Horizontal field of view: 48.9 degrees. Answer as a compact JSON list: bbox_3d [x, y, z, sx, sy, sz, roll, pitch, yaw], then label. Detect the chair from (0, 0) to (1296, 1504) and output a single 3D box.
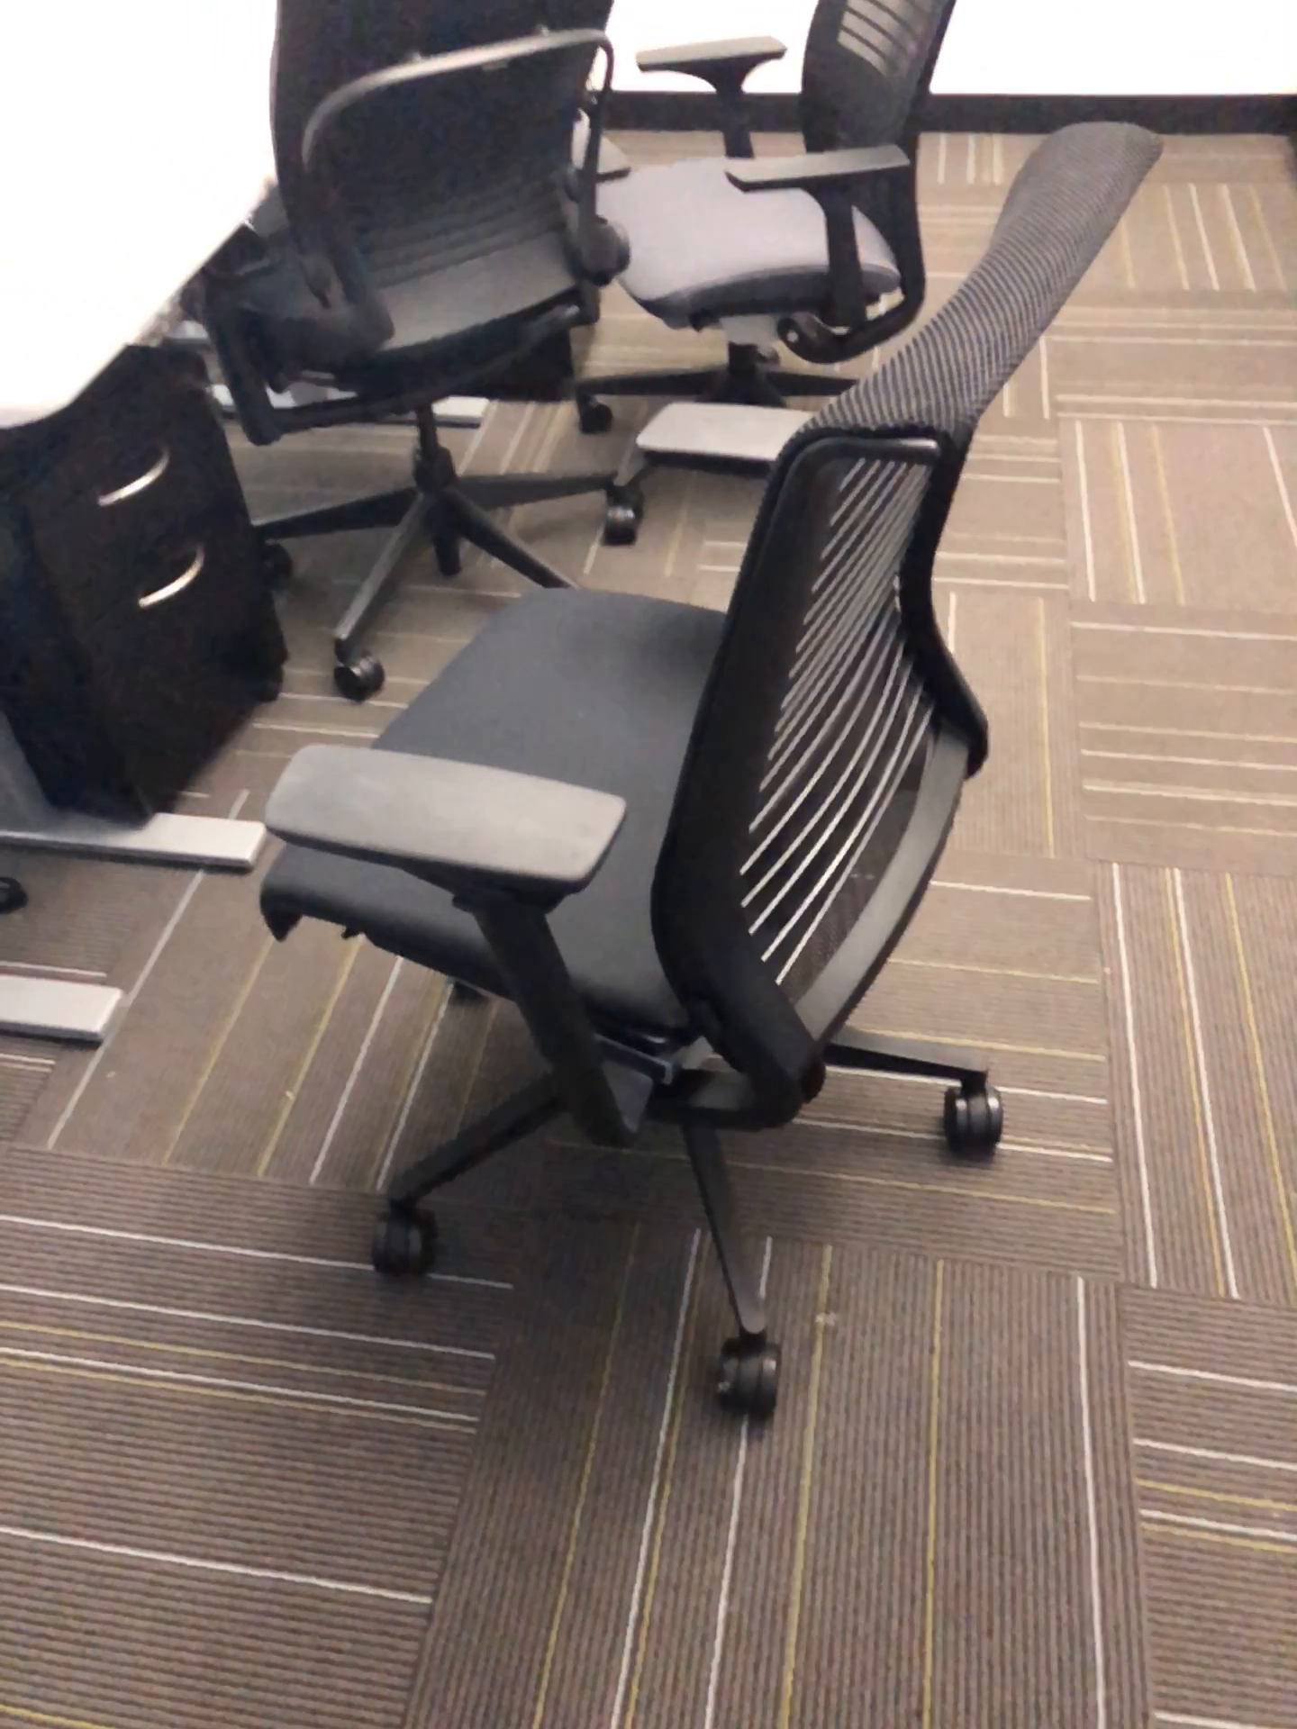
[{"bbox_3d":[0.055,-0.135,1.231,0.661,0.996,0.752,15,47,19],"label":"chair"}]
